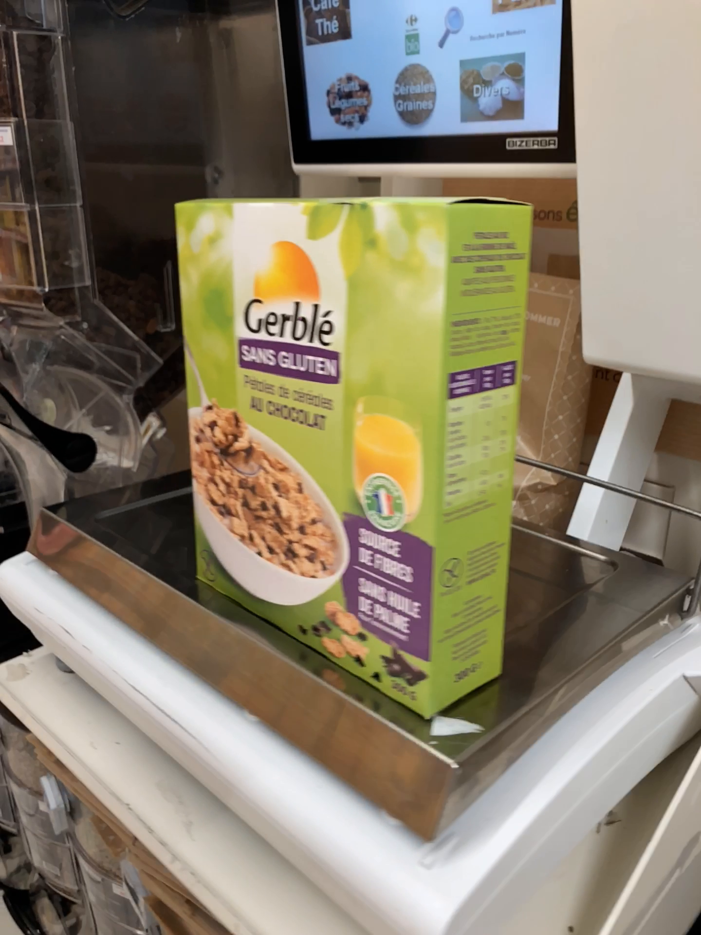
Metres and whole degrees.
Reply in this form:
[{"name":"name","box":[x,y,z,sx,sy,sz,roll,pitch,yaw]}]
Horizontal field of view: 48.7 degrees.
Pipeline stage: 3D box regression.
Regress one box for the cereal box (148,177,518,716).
[{"name":"cereal box","box":[-0.020,-0.025,0.396,0.060,0.219,0.200,-14,22,-39]}]
